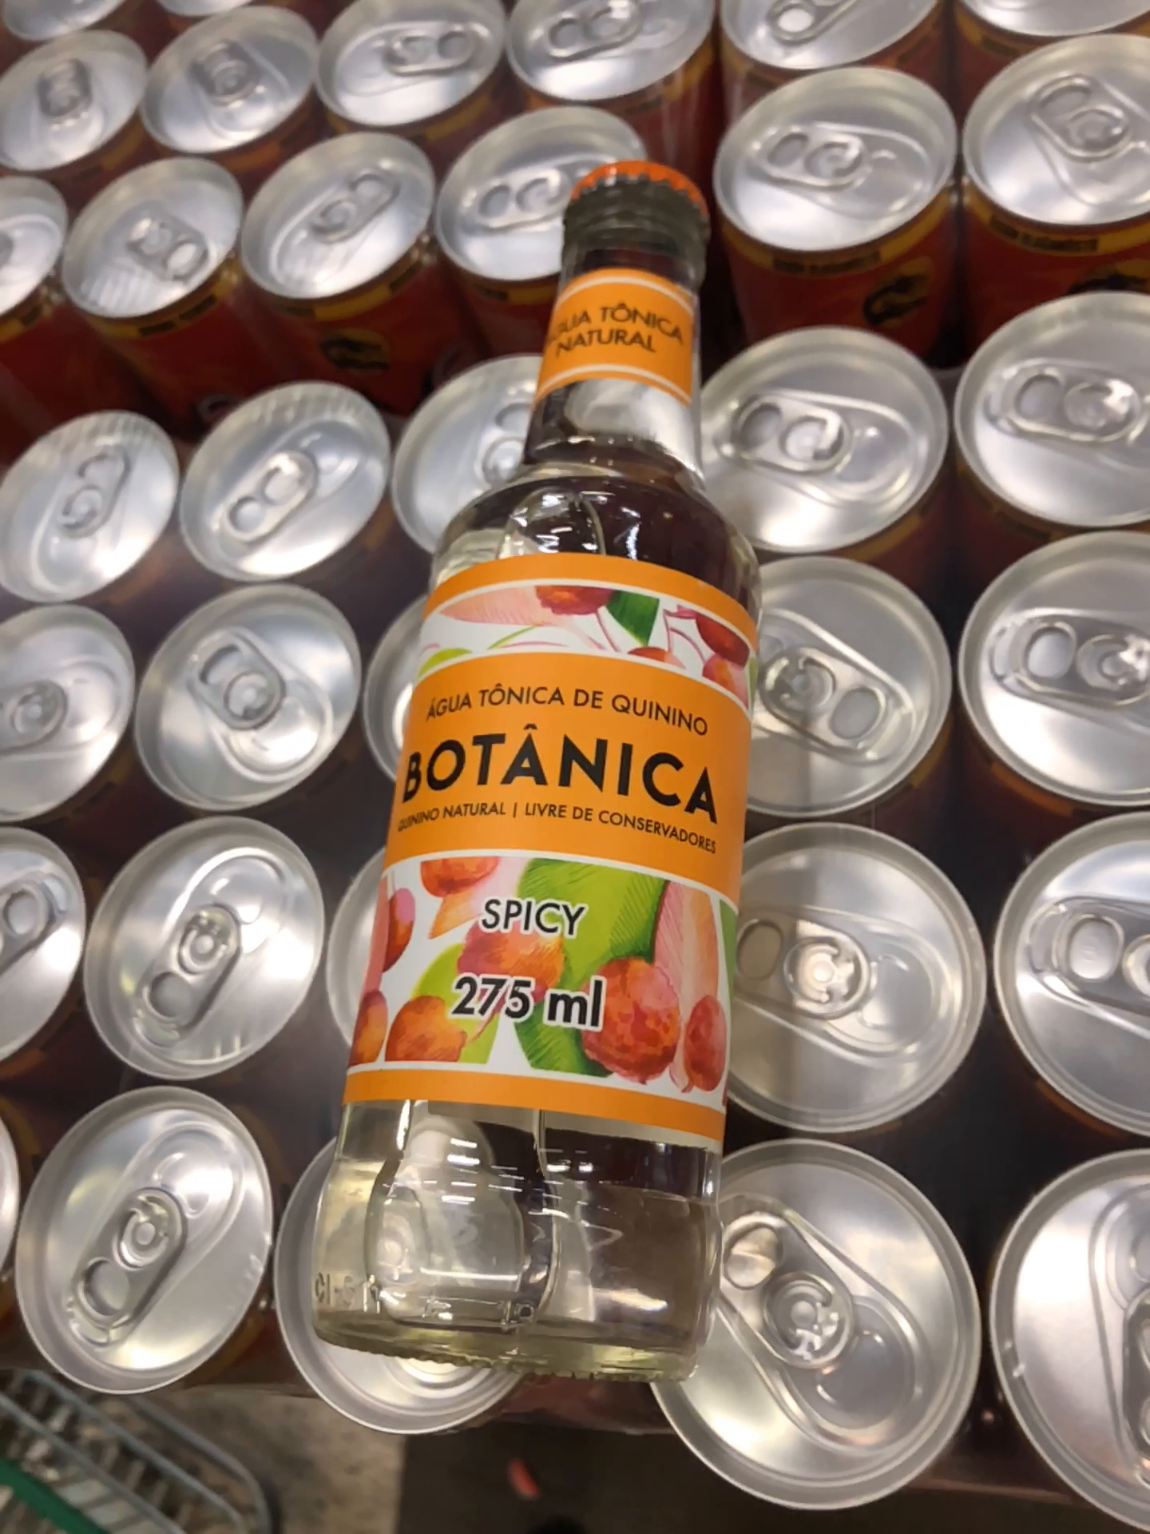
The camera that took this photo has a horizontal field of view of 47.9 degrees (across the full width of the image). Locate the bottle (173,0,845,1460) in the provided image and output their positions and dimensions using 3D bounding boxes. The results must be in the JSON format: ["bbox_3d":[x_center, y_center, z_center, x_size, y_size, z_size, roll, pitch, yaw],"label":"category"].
[{"bbox_3d":[0.002,-0.020,0.200,0.070,0.050,0.210,0,72,16],"label":"bottle"}]
